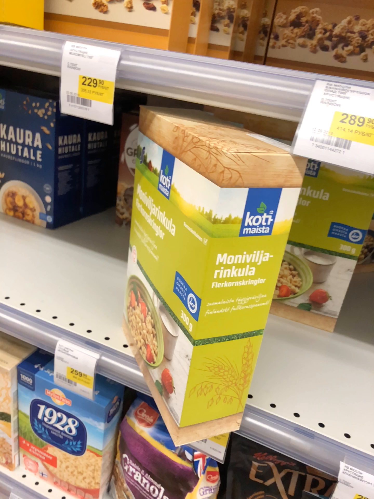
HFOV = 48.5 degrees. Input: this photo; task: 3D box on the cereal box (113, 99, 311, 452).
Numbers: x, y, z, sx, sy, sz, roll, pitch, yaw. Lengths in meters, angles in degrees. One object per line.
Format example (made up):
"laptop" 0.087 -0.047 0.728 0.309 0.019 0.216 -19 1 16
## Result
"cereal box" -0.004 0.011 0.390 0.070 0.259 0.191 -2 26 -24
